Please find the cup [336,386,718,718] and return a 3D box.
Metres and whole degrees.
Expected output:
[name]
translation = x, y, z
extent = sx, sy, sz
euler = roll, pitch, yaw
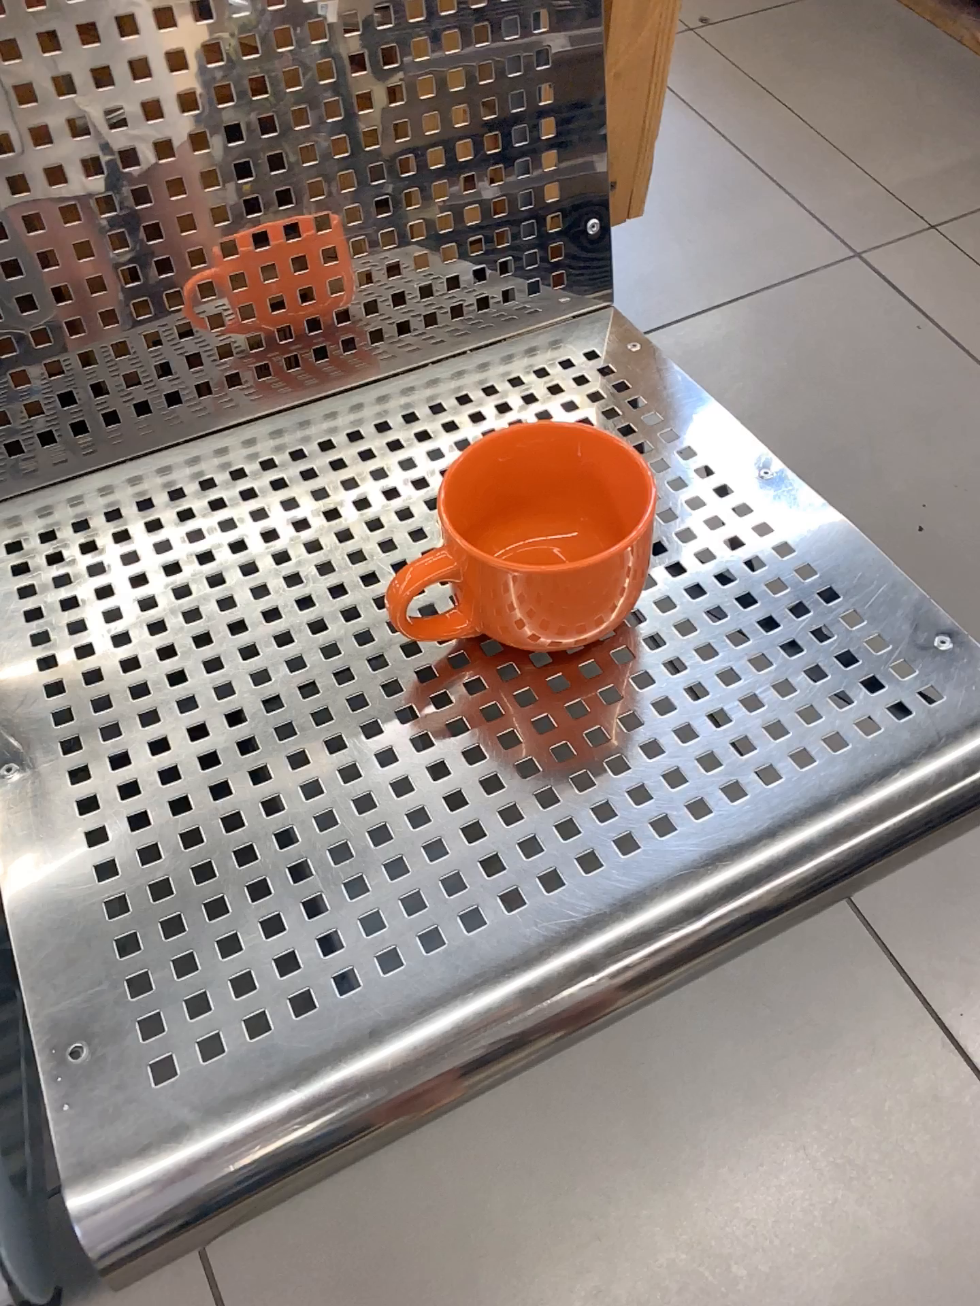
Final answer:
[cup]
translation = 0.017, -0.056, 0.511
extent = 0.150, 0.070, 0.110
euler = -24, 51, -16
